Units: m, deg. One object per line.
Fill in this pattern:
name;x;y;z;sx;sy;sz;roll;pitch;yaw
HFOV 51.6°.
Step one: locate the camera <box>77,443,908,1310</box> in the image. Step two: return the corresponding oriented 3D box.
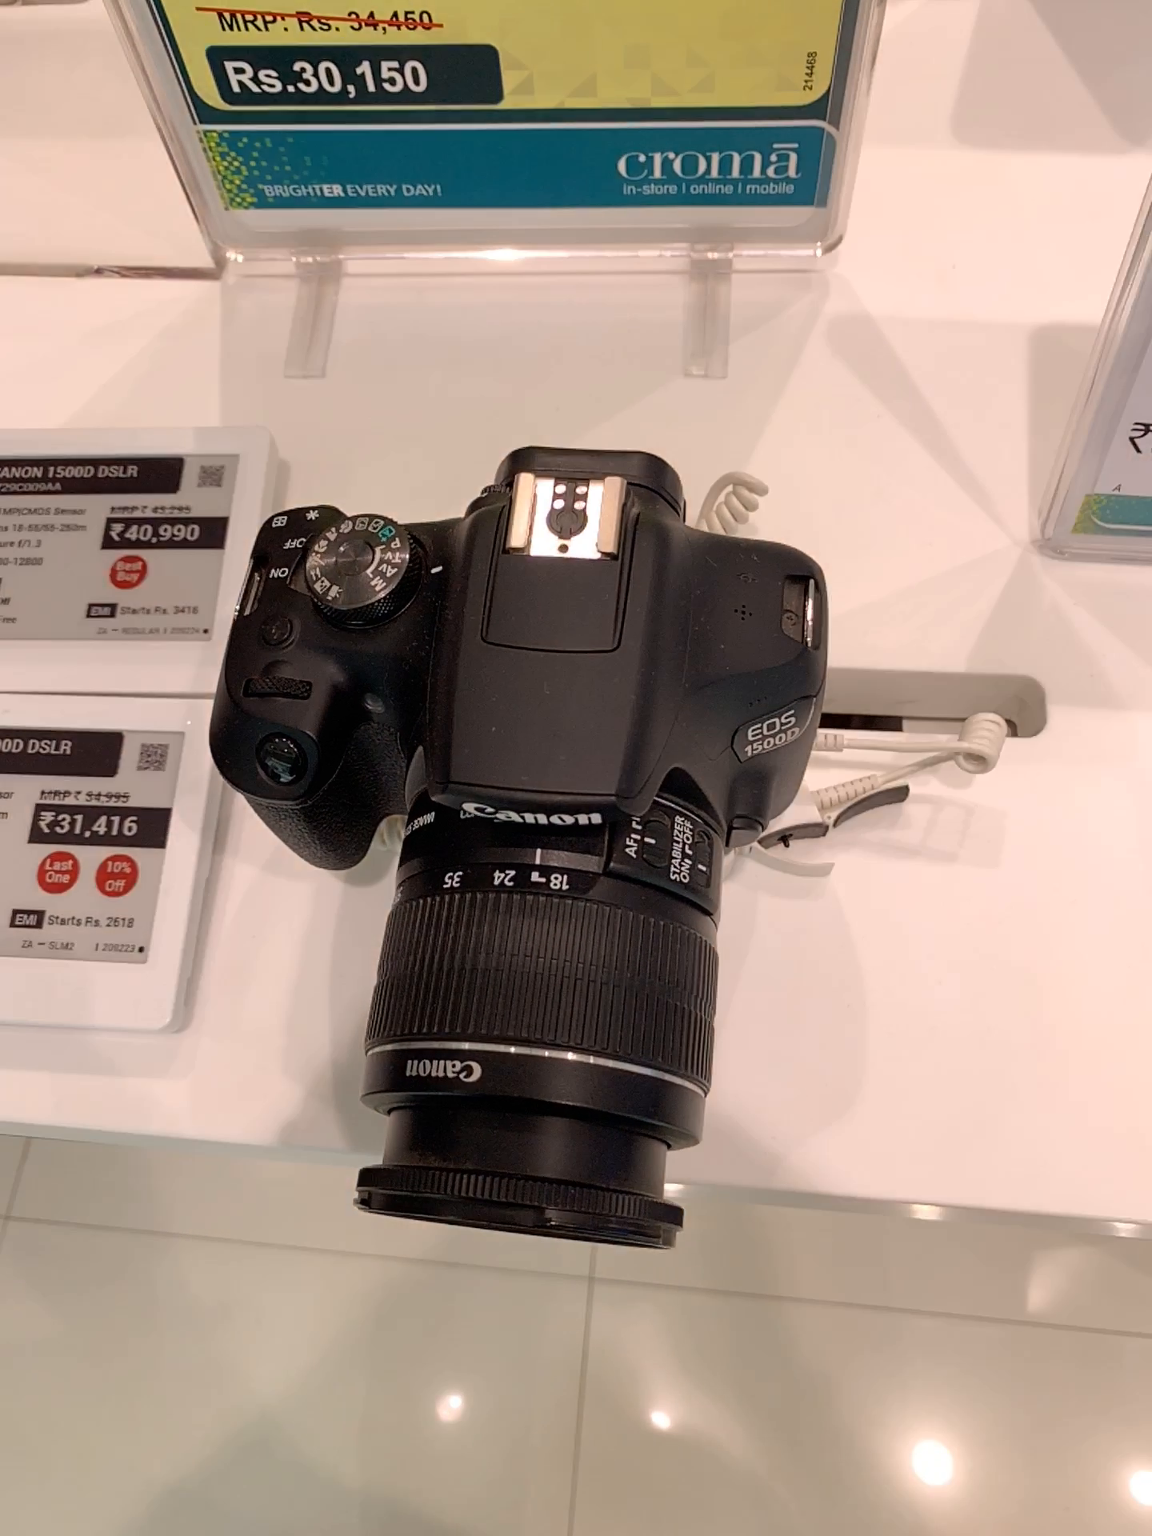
camera;-0.003;0.023;0.223;0.110;0.090;0.130;4;66;6
